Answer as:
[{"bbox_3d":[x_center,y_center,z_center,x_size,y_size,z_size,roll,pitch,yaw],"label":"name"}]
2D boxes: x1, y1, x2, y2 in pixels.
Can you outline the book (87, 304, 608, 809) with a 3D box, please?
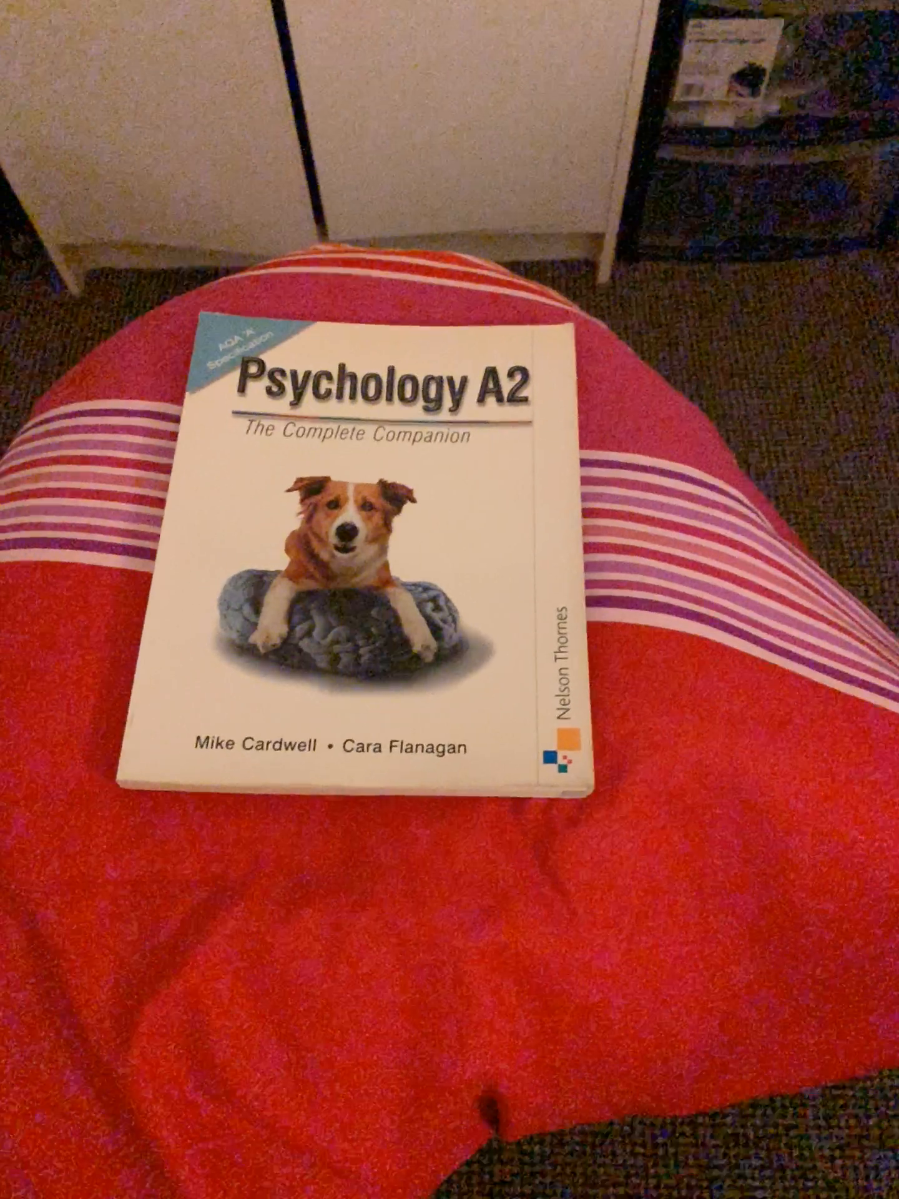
[{"bbox_3d":[-0.044,-0.037,0.506,0.240,0.040,0.292,0,64,2],"label":"book"}]
